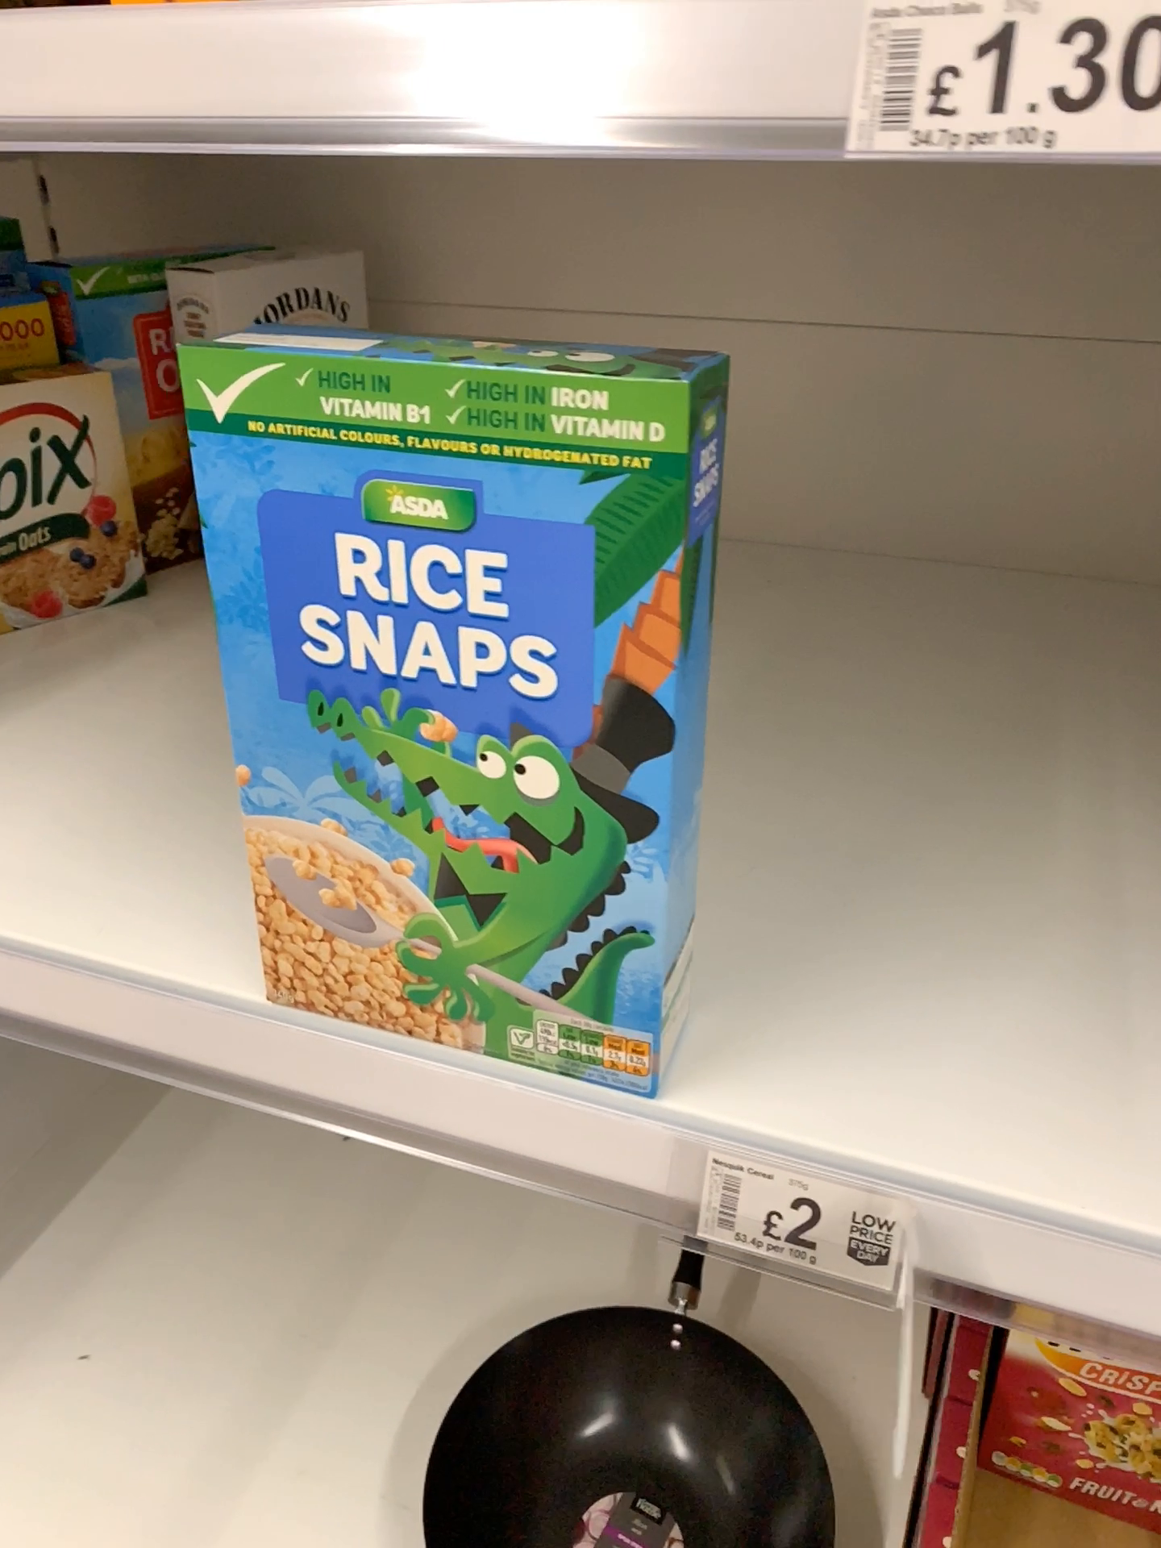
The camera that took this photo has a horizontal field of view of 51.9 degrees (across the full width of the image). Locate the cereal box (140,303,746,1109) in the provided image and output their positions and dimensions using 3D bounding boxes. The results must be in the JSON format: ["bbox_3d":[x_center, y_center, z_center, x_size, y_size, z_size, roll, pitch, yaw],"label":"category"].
[{"bbox_3d":[-0.045,-0.023,0.468,0.190,0.287,0.071,9,30,17],"label":"cereal box"}]
